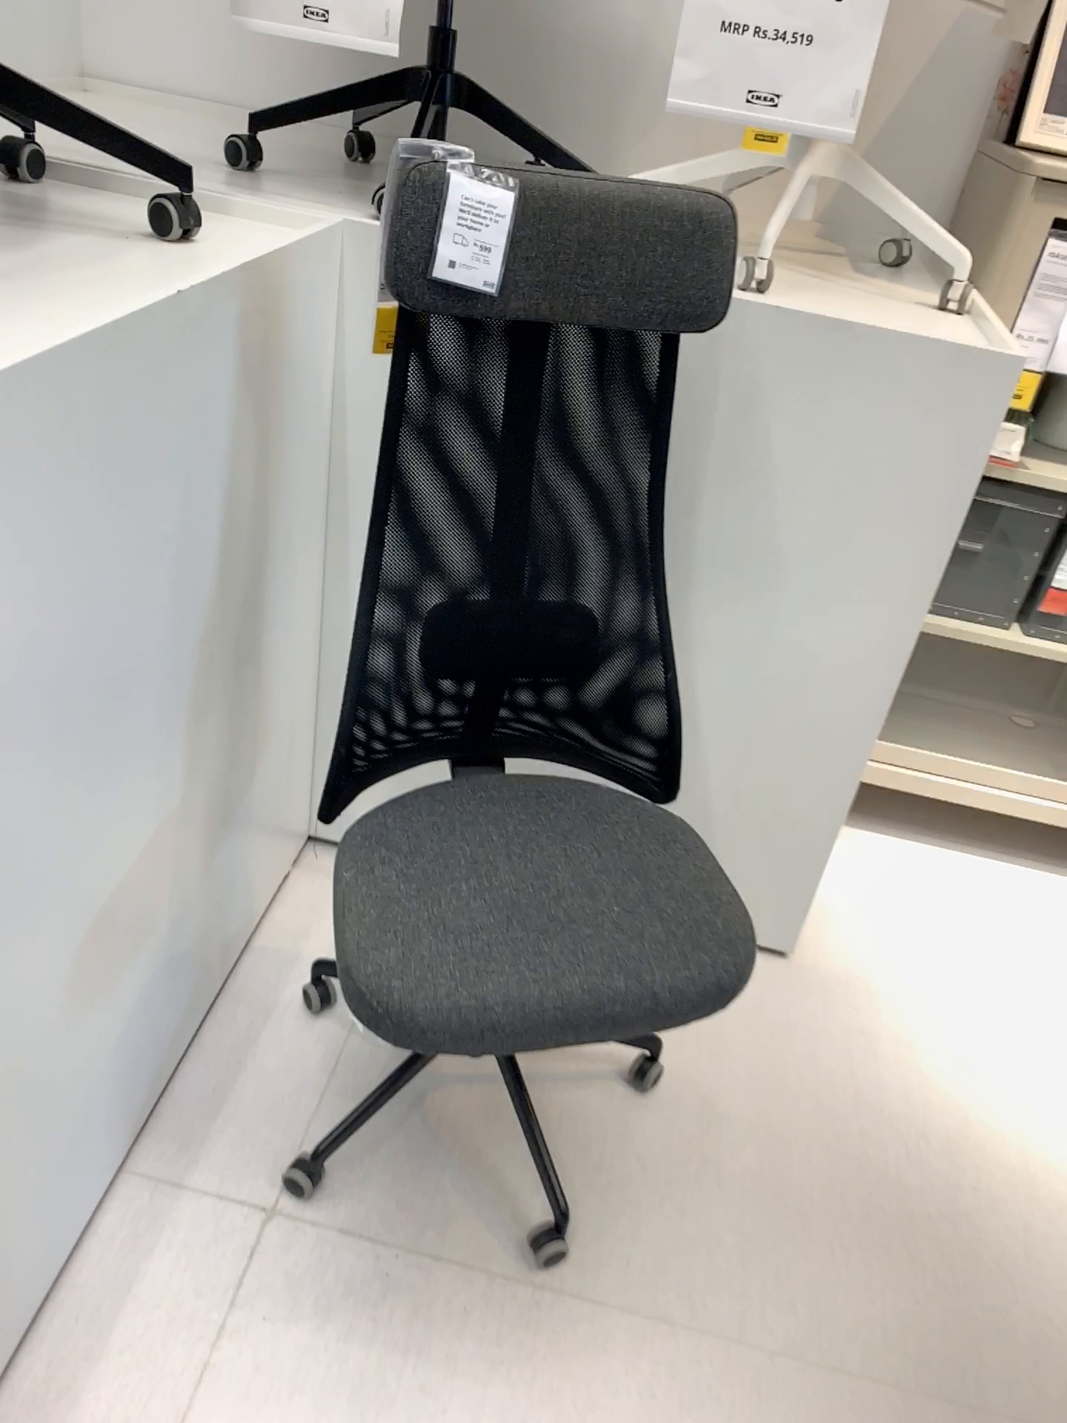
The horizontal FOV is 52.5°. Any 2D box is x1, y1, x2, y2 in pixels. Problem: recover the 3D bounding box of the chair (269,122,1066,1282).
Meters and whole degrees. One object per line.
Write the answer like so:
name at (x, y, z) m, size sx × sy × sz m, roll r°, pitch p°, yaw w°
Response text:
chair at (0.023, 0.035, 1.405) m, size 0.660 × 1.264 × 0.673 m, roll 2°, pitch 33°, yaw -13°
